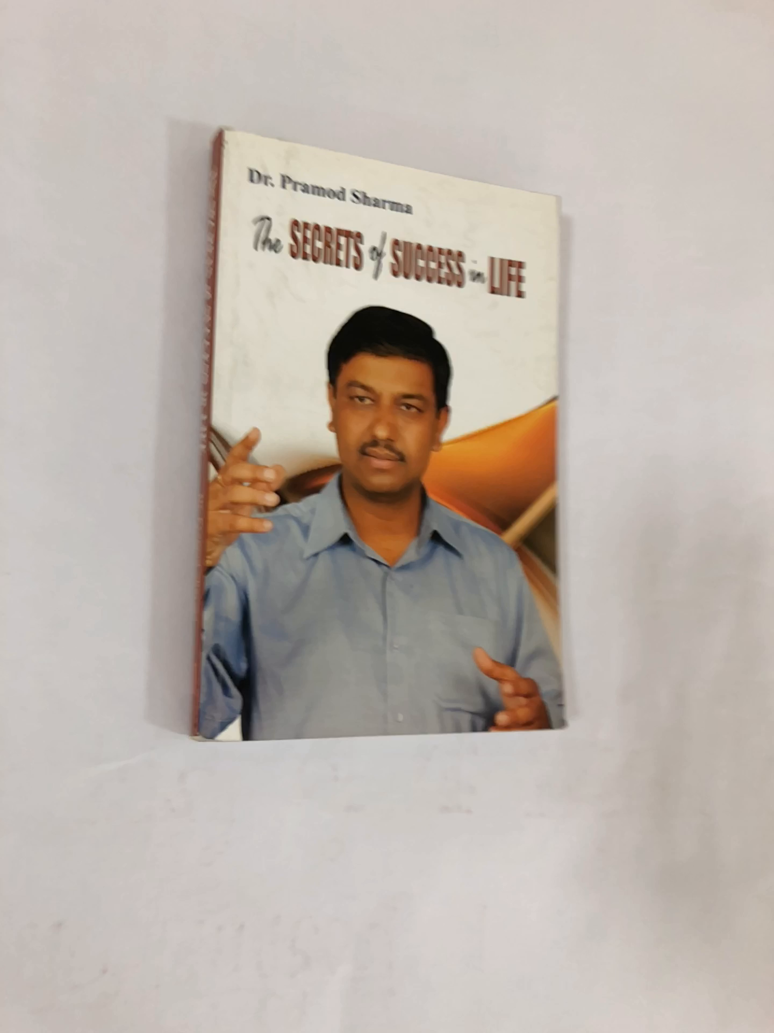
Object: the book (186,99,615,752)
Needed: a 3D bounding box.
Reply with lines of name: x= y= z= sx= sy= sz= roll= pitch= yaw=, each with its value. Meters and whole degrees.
book: x=0.008 y=-0.029 z=0.310 sx=0.150 sy=0.020 sz=0.210 roll=3 pitch=82 yaw=-22
